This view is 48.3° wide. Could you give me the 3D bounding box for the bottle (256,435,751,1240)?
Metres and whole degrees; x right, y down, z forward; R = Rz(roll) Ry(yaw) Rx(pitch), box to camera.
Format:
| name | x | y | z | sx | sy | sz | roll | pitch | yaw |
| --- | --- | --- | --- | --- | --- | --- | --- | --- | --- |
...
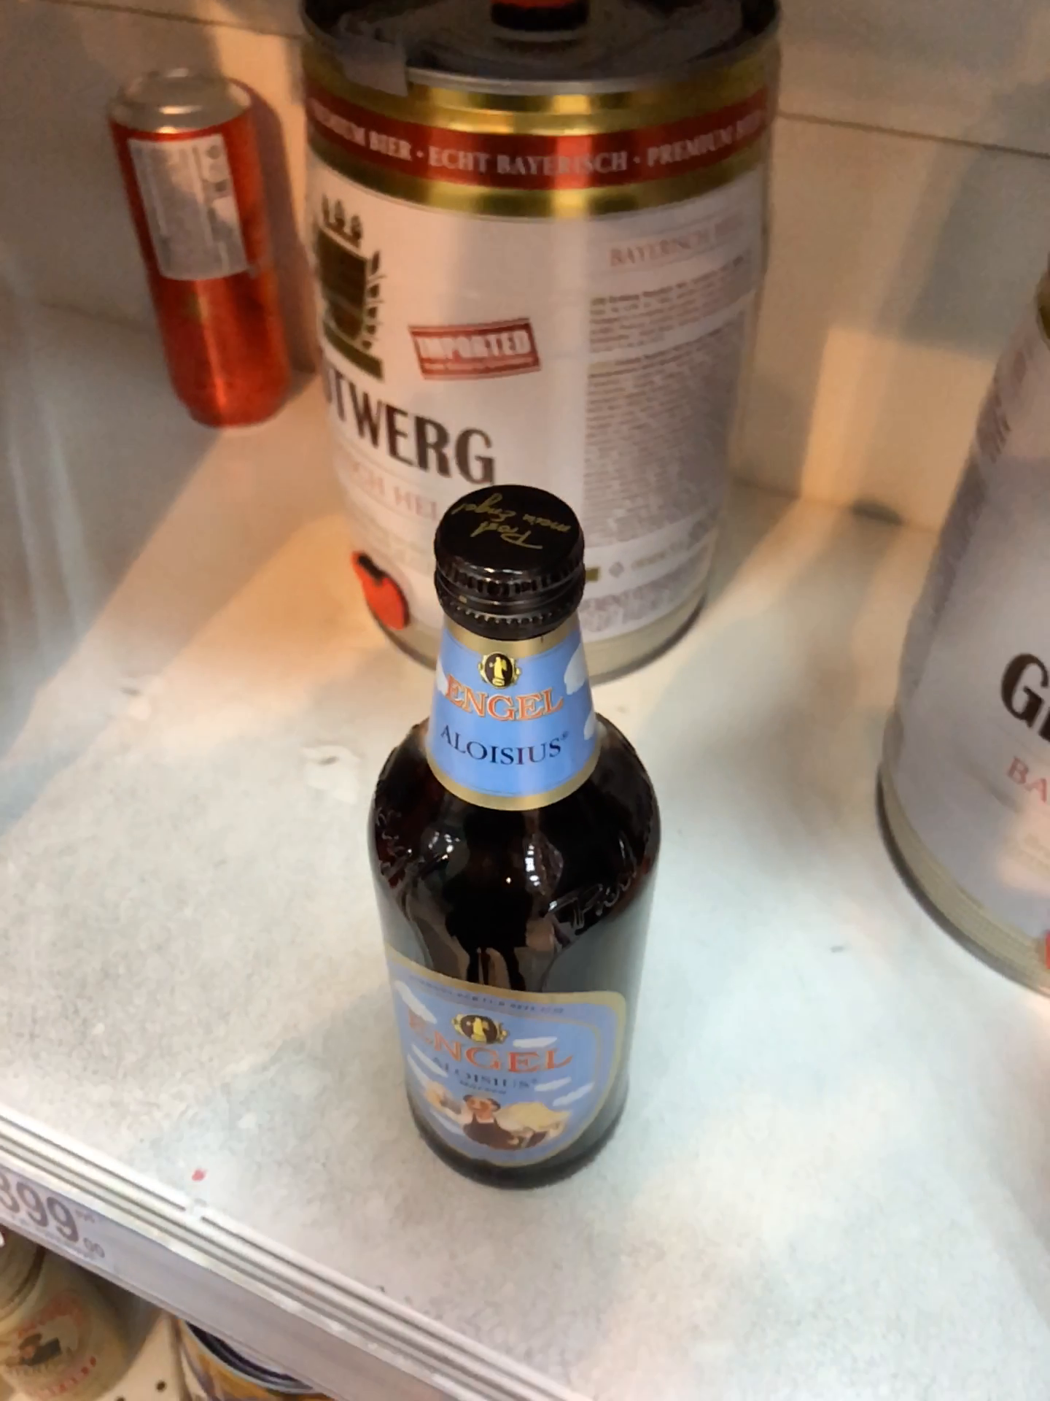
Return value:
| name | x | y | z | sx | sy | sz | roll | pitch | yaw |
| --- | --- | --- | --- | --- | --- | --- | --- | --- | --- |
| bottle | 0.000 | 0.051 | 0.285 | 0.070 | 0.219 | 0.060 | 15 | 49 | 14 |
